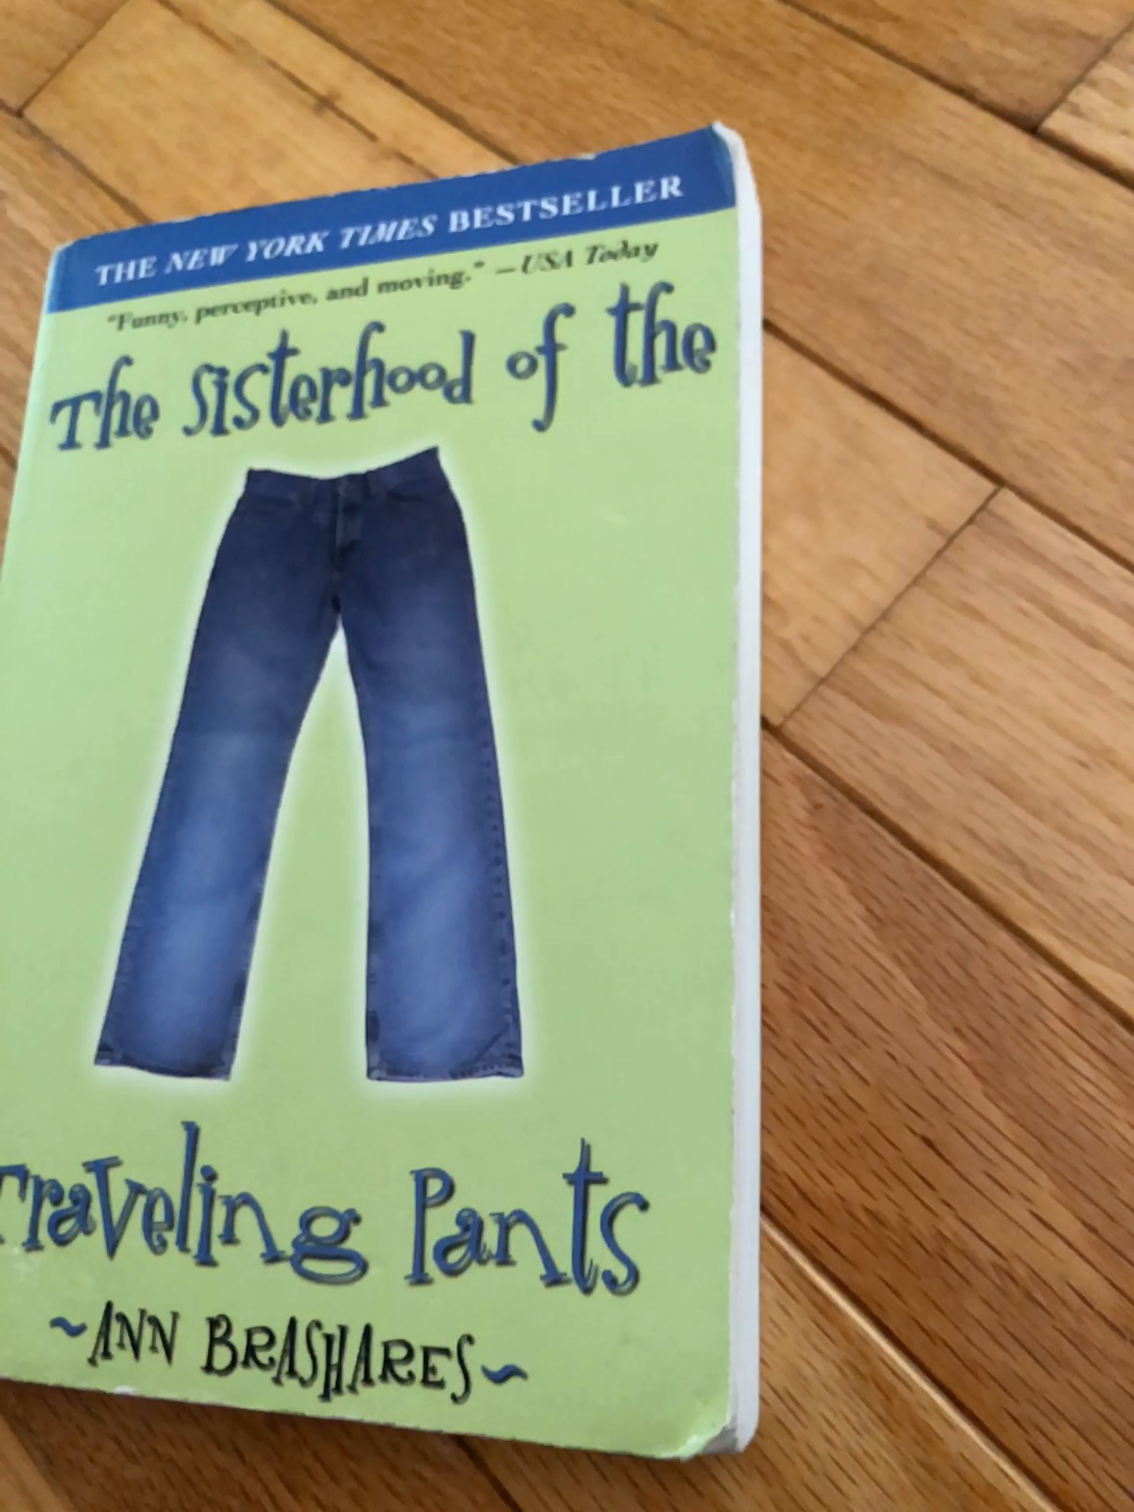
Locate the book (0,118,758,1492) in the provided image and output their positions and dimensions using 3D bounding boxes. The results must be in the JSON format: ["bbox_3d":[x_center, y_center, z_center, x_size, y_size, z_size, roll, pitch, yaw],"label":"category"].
[{"bbox_3d":[-0.040,-0.003,0.218,0.141,0.025,0.209,-2,72,15],"label":"book"}]
